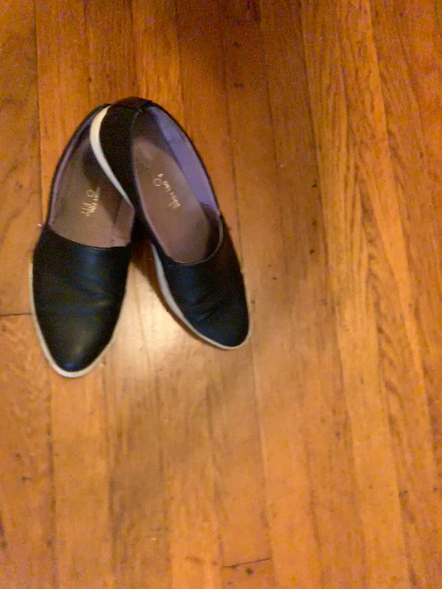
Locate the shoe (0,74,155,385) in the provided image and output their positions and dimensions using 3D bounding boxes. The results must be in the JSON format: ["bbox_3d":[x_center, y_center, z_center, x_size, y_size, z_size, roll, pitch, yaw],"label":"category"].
[{"bbox_3d":[-0.133,-0.054,0.429,0.100,0.080,0.260,9,80,-12],"label":"shoe"}]

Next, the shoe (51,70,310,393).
[{"bbox_3d":[-0.029,-0.046,0.412,0.100,0.080,0.250,-37,113,-15],"label":"shoe"}]
